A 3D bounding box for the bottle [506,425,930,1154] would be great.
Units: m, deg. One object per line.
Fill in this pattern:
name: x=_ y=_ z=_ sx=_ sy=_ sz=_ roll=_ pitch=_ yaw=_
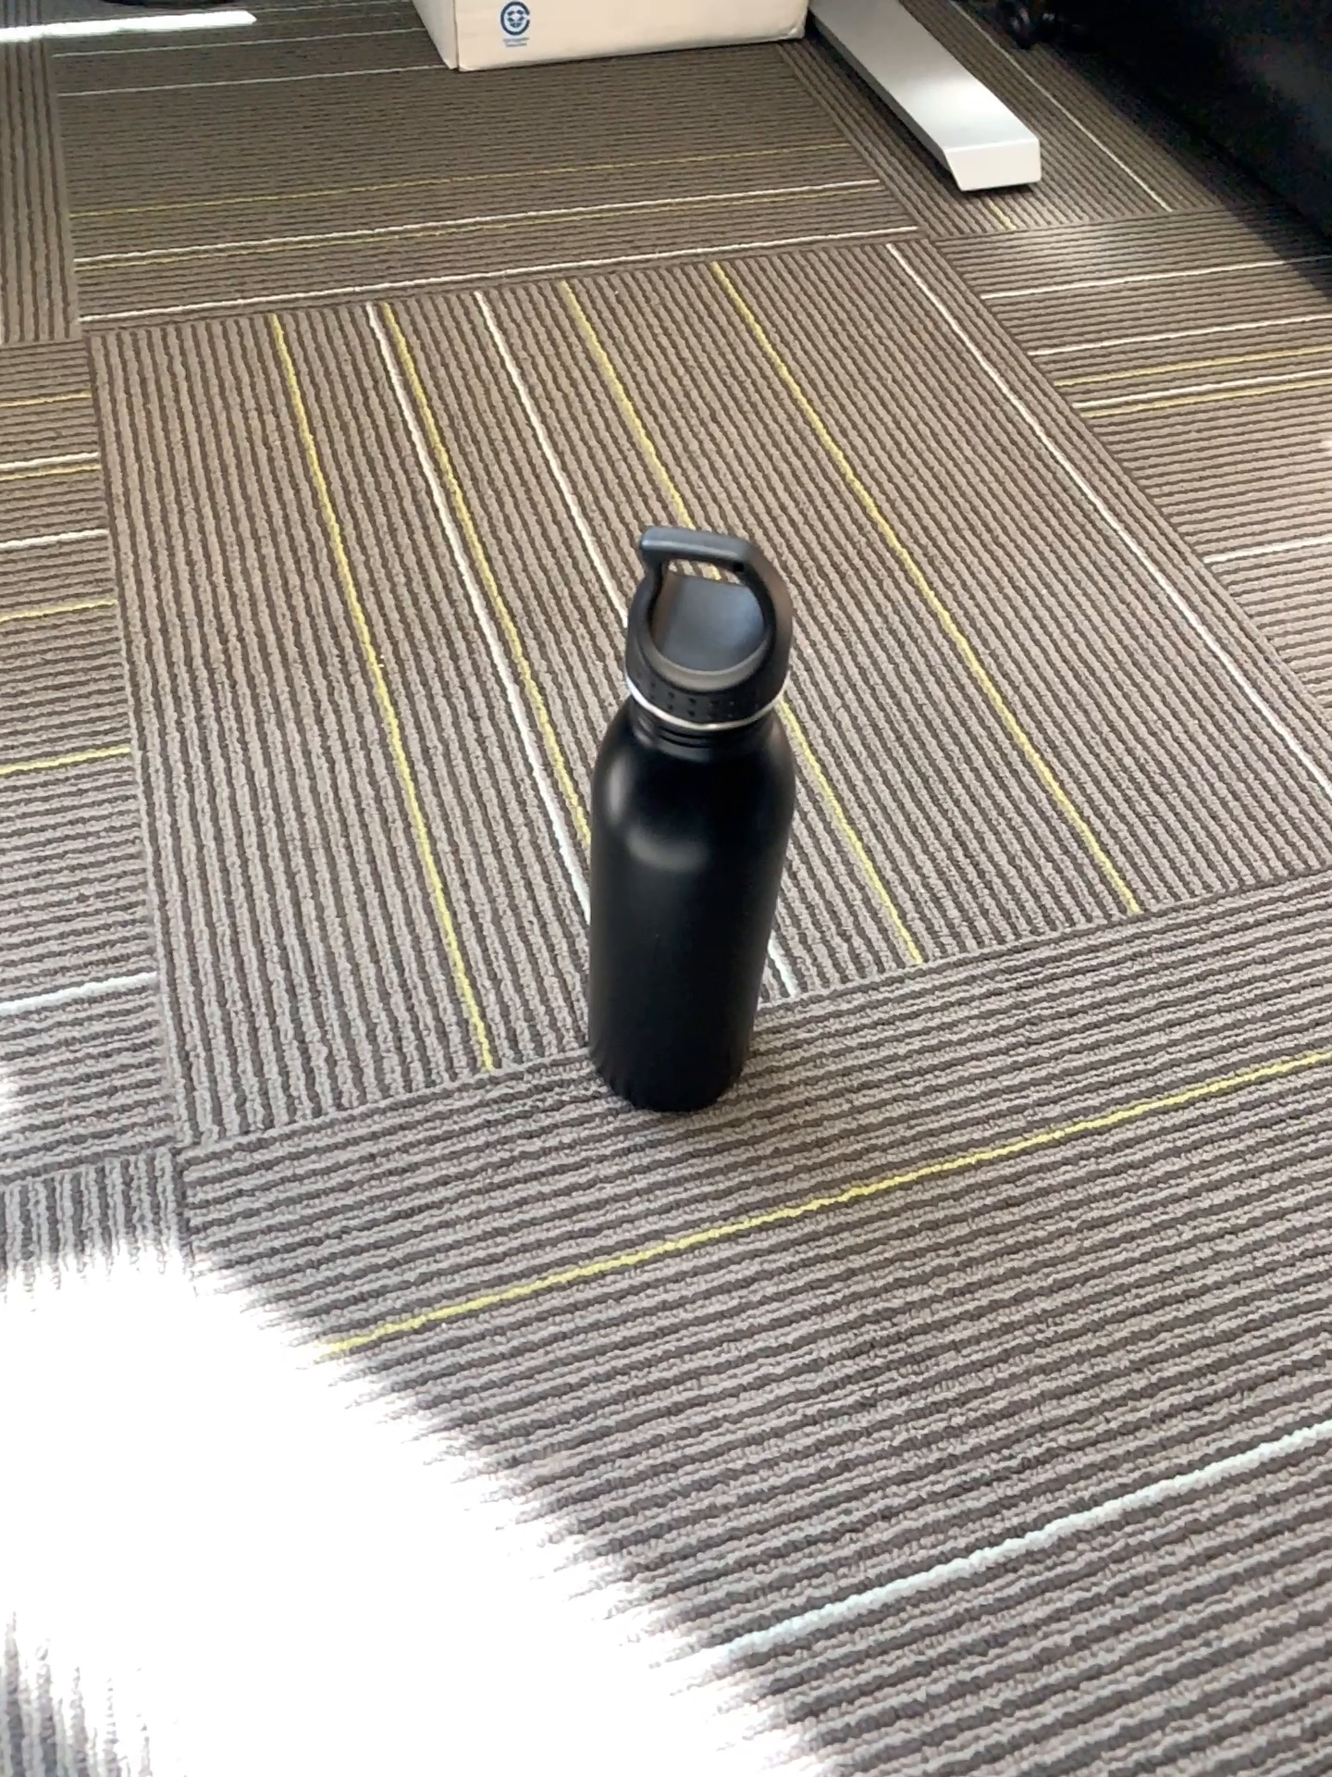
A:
bottle: x=0.009 y=-0.017 z=0.472 sx=0.090 sy=0.249 sz=0.080 roll=25 pitch=55 yaw=15
